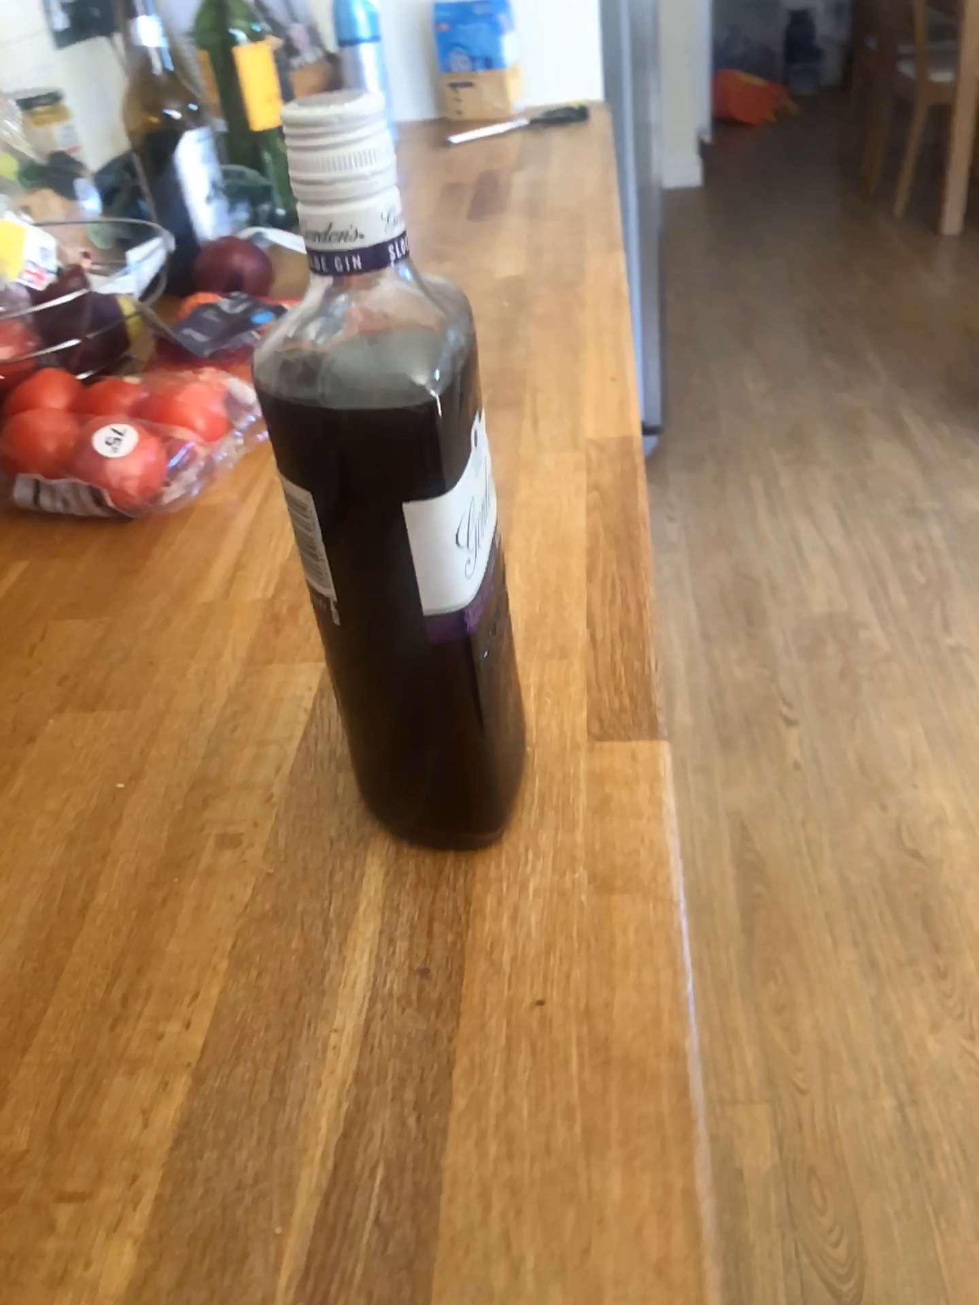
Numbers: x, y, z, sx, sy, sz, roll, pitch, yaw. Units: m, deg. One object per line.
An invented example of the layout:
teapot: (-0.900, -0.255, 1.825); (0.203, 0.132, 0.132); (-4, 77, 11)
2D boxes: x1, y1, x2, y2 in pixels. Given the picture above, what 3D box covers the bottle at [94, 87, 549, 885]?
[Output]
bottle: (-0.035, -0.044, 0.361); (0.080, 0.238, 0.101); (-1, 36, 10)
